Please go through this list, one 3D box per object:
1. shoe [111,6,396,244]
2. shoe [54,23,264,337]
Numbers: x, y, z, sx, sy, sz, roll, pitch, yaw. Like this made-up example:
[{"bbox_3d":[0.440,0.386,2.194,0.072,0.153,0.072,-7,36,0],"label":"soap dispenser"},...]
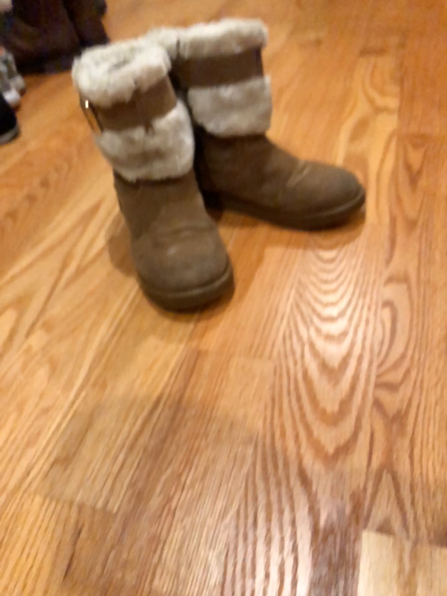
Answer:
[{"bbox_3d":[0.036,-0.194,0.548,0.255,0.193,0.113,15,47,26],"label":"shoe"},{"bbox_3d":[-0.068,-0.129,0.491,0.106,0.193,0.256,-19,42,-10],"label":"shoe"}]
